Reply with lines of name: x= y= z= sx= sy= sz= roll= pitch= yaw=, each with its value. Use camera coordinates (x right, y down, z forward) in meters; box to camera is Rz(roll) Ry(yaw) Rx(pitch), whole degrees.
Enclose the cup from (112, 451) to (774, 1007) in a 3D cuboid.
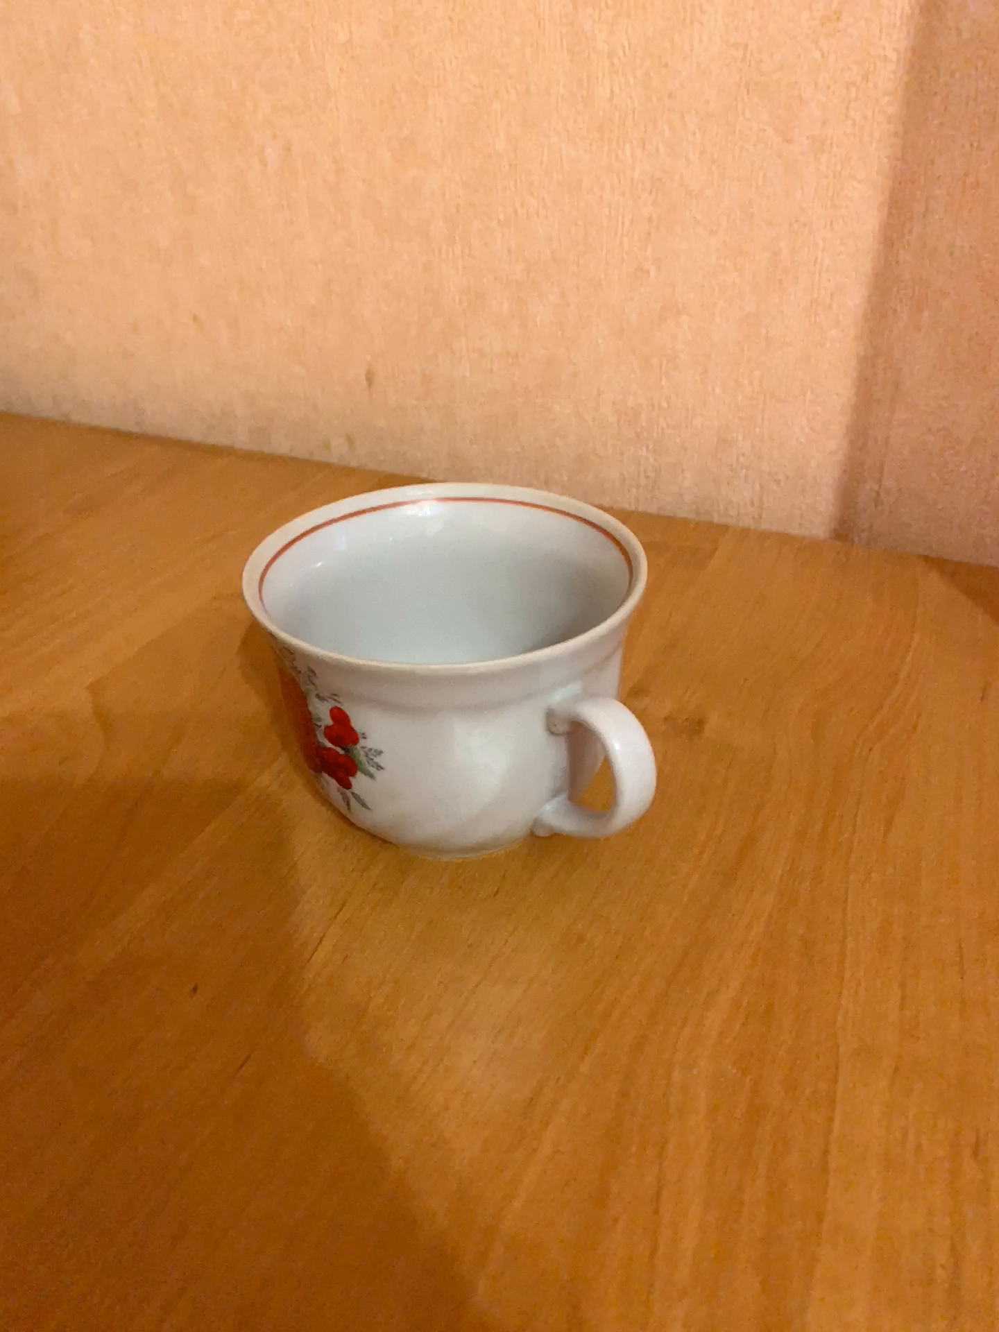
cup: x=-0.012 y=0.002 z=0.227 sx=0.109 sy=0.056 sz=0.083 roll=22 pitch=39 yaw=33
